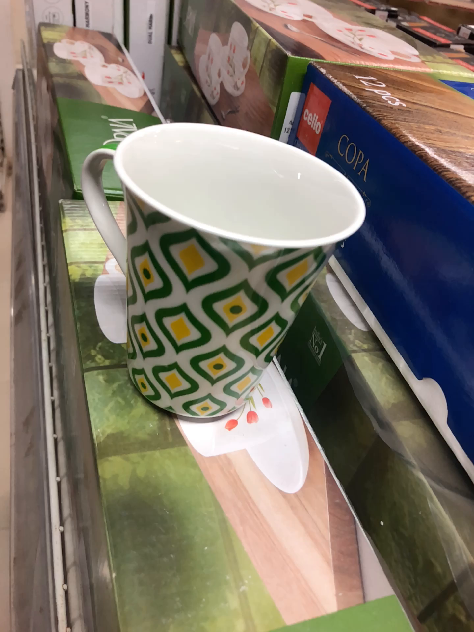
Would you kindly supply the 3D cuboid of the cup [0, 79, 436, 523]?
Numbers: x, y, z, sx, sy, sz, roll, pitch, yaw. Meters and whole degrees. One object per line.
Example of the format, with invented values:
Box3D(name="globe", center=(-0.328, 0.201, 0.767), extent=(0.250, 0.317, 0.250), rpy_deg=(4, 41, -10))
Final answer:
Box3D(name="cup", center=(-0.011, -0.011, 0.207), extent=(0.120, 0.109, 0.080), rpy_deg=(27, 41, 18))
